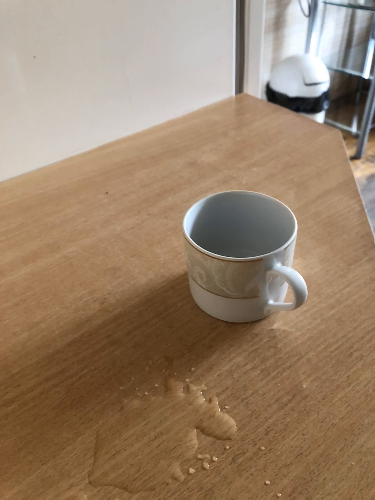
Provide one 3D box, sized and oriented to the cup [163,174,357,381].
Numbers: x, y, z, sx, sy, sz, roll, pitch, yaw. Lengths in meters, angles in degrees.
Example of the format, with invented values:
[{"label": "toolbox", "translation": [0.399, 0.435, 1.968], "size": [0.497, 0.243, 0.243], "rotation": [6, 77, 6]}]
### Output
[{"label": "cup", "translation": [0.042, 0.013, 0.285], "size": [0.075, 0.069, 0.105], "rotation": [-20, 44, -17]}]
